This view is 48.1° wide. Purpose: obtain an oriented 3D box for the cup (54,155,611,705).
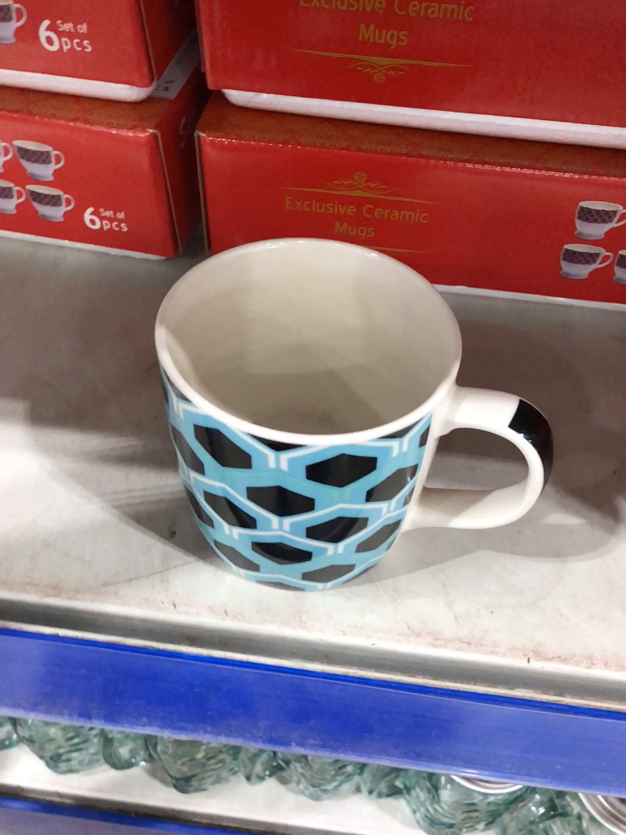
[{"bbox_3d":[0.013,0.003,0.244,0.130,0.120,0.110,16,50,12],"label":"cup"}]
